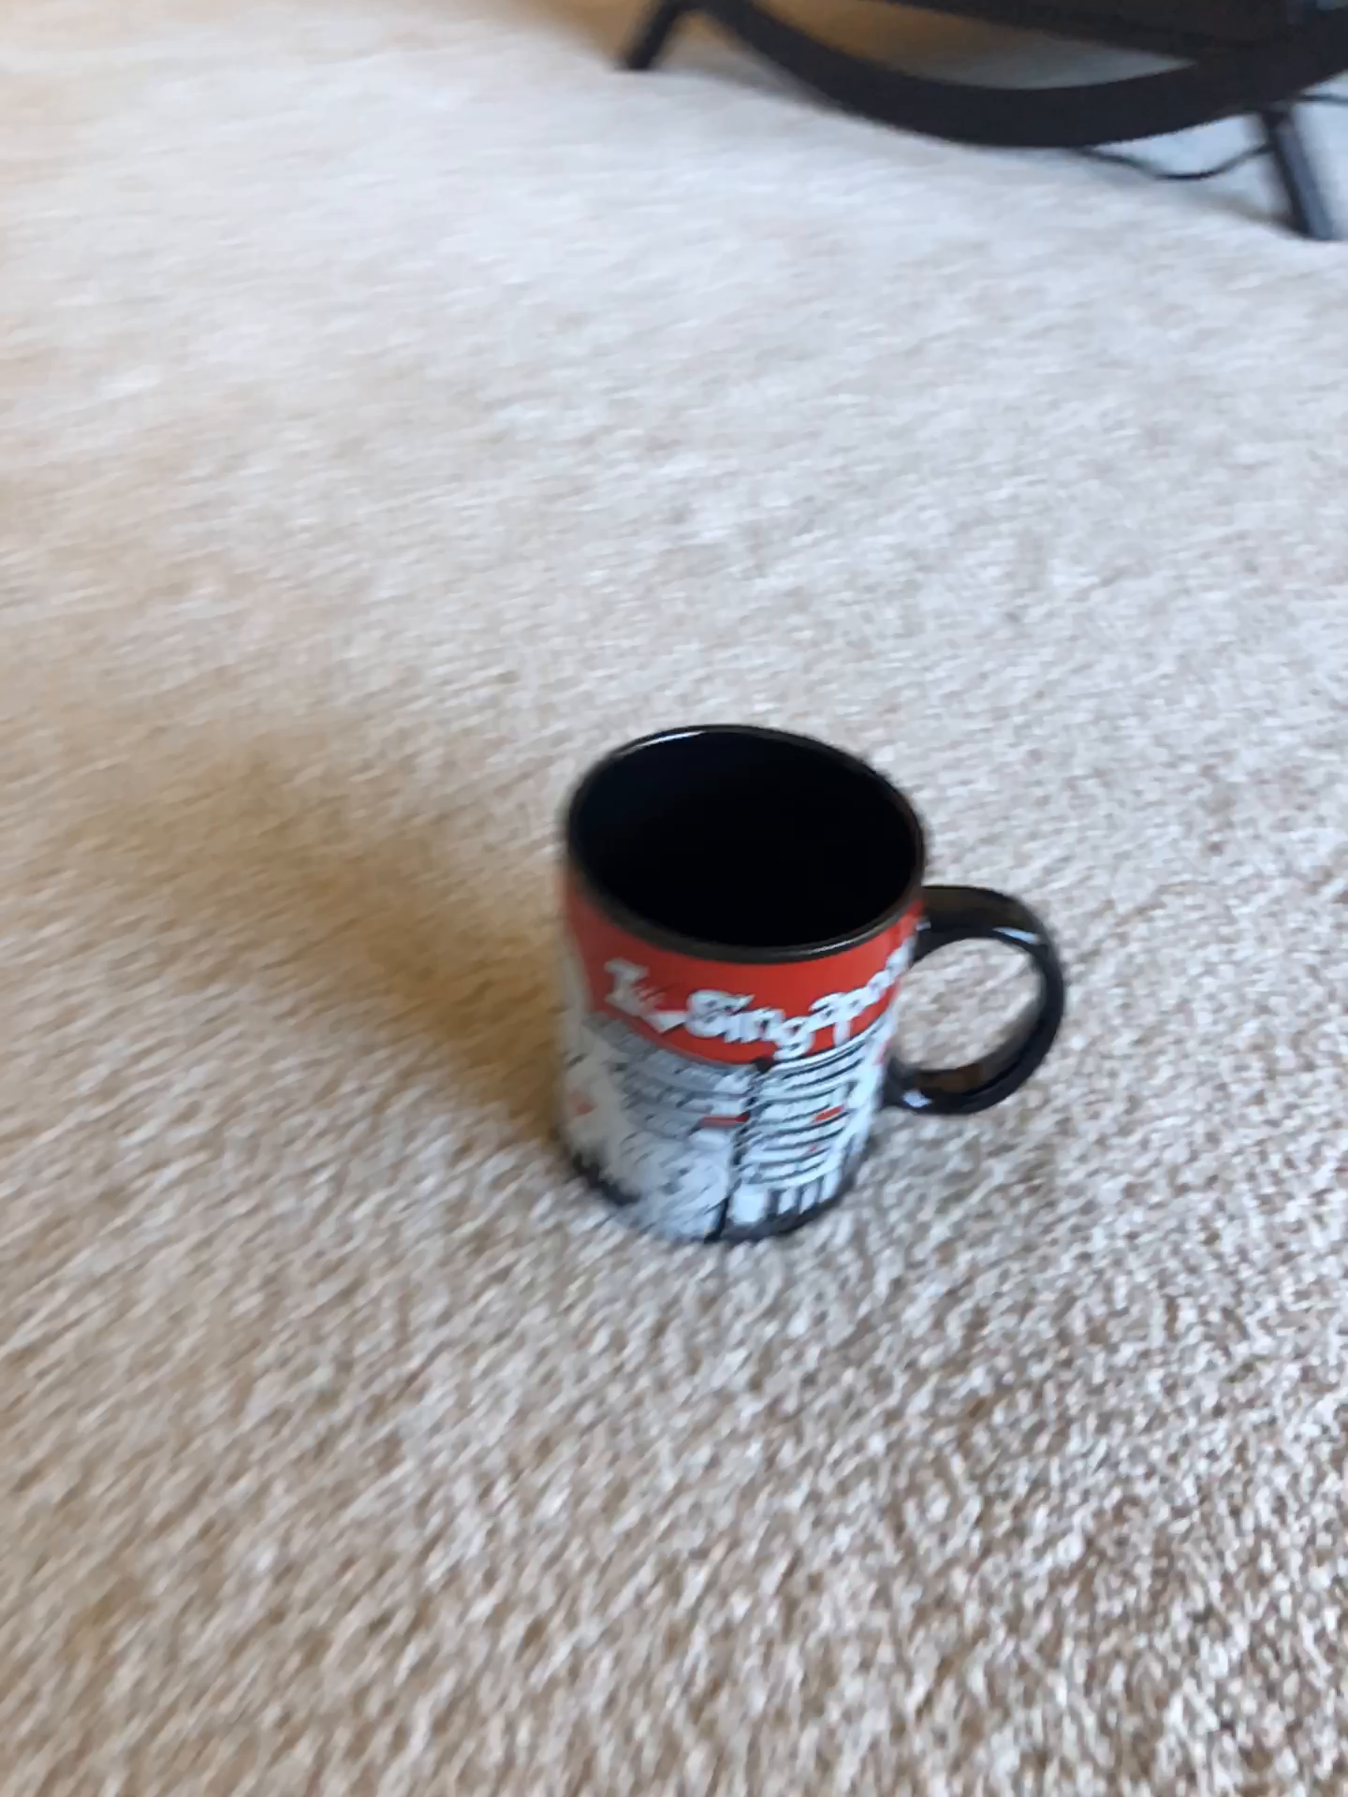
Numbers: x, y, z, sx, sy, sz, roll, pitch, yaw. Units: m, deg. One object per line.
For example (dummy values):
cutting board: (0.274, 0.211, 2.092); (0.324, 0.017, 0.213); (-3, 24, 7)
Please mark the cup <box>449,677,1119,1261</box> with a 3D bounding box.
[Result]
cup: (0.023, 0.015, 0.355); (0.130, 0.090, 0.090); (5, 40, 2)
